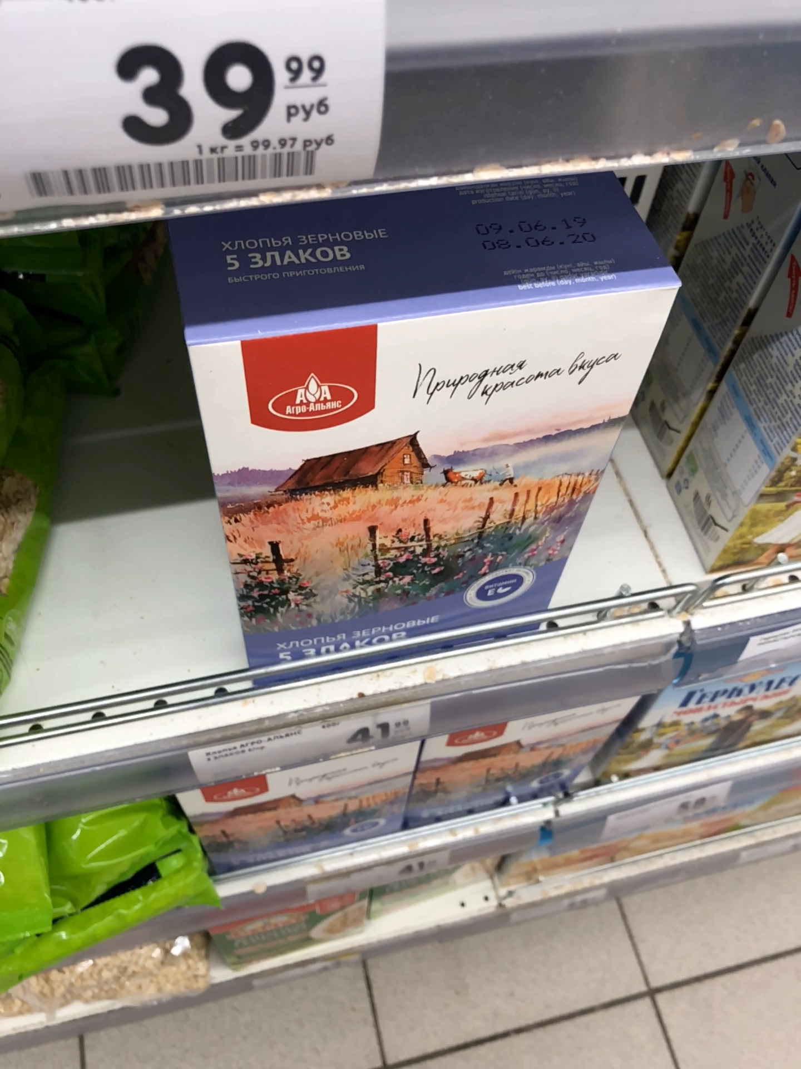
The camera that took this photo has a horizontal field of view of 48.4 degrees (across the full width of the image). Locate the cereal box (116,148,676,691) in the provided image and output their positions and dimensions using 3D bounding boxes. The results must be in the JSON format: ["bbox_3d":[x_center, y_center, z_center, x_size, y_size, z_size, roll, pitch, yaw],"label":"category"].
[{"bbox_3d":[-0.008,-0.025,0.322,0.140,0.199,0.060,-10,58,-10],"label":"cereal box"}]
